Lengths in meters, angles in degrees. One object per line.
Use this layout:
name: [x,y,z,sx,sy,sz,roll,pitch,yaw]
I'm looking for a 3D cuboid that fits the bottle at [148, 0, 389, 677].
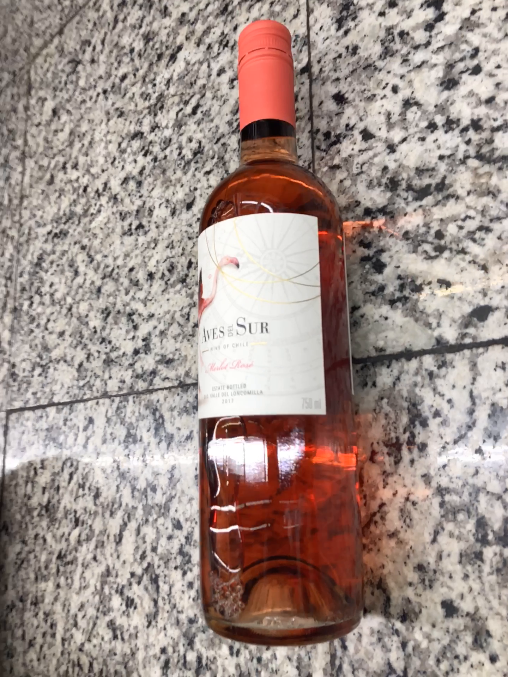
bottle: [0.002,-0.026,0.303,0.090,0.070,0.340,-13,72,43]
